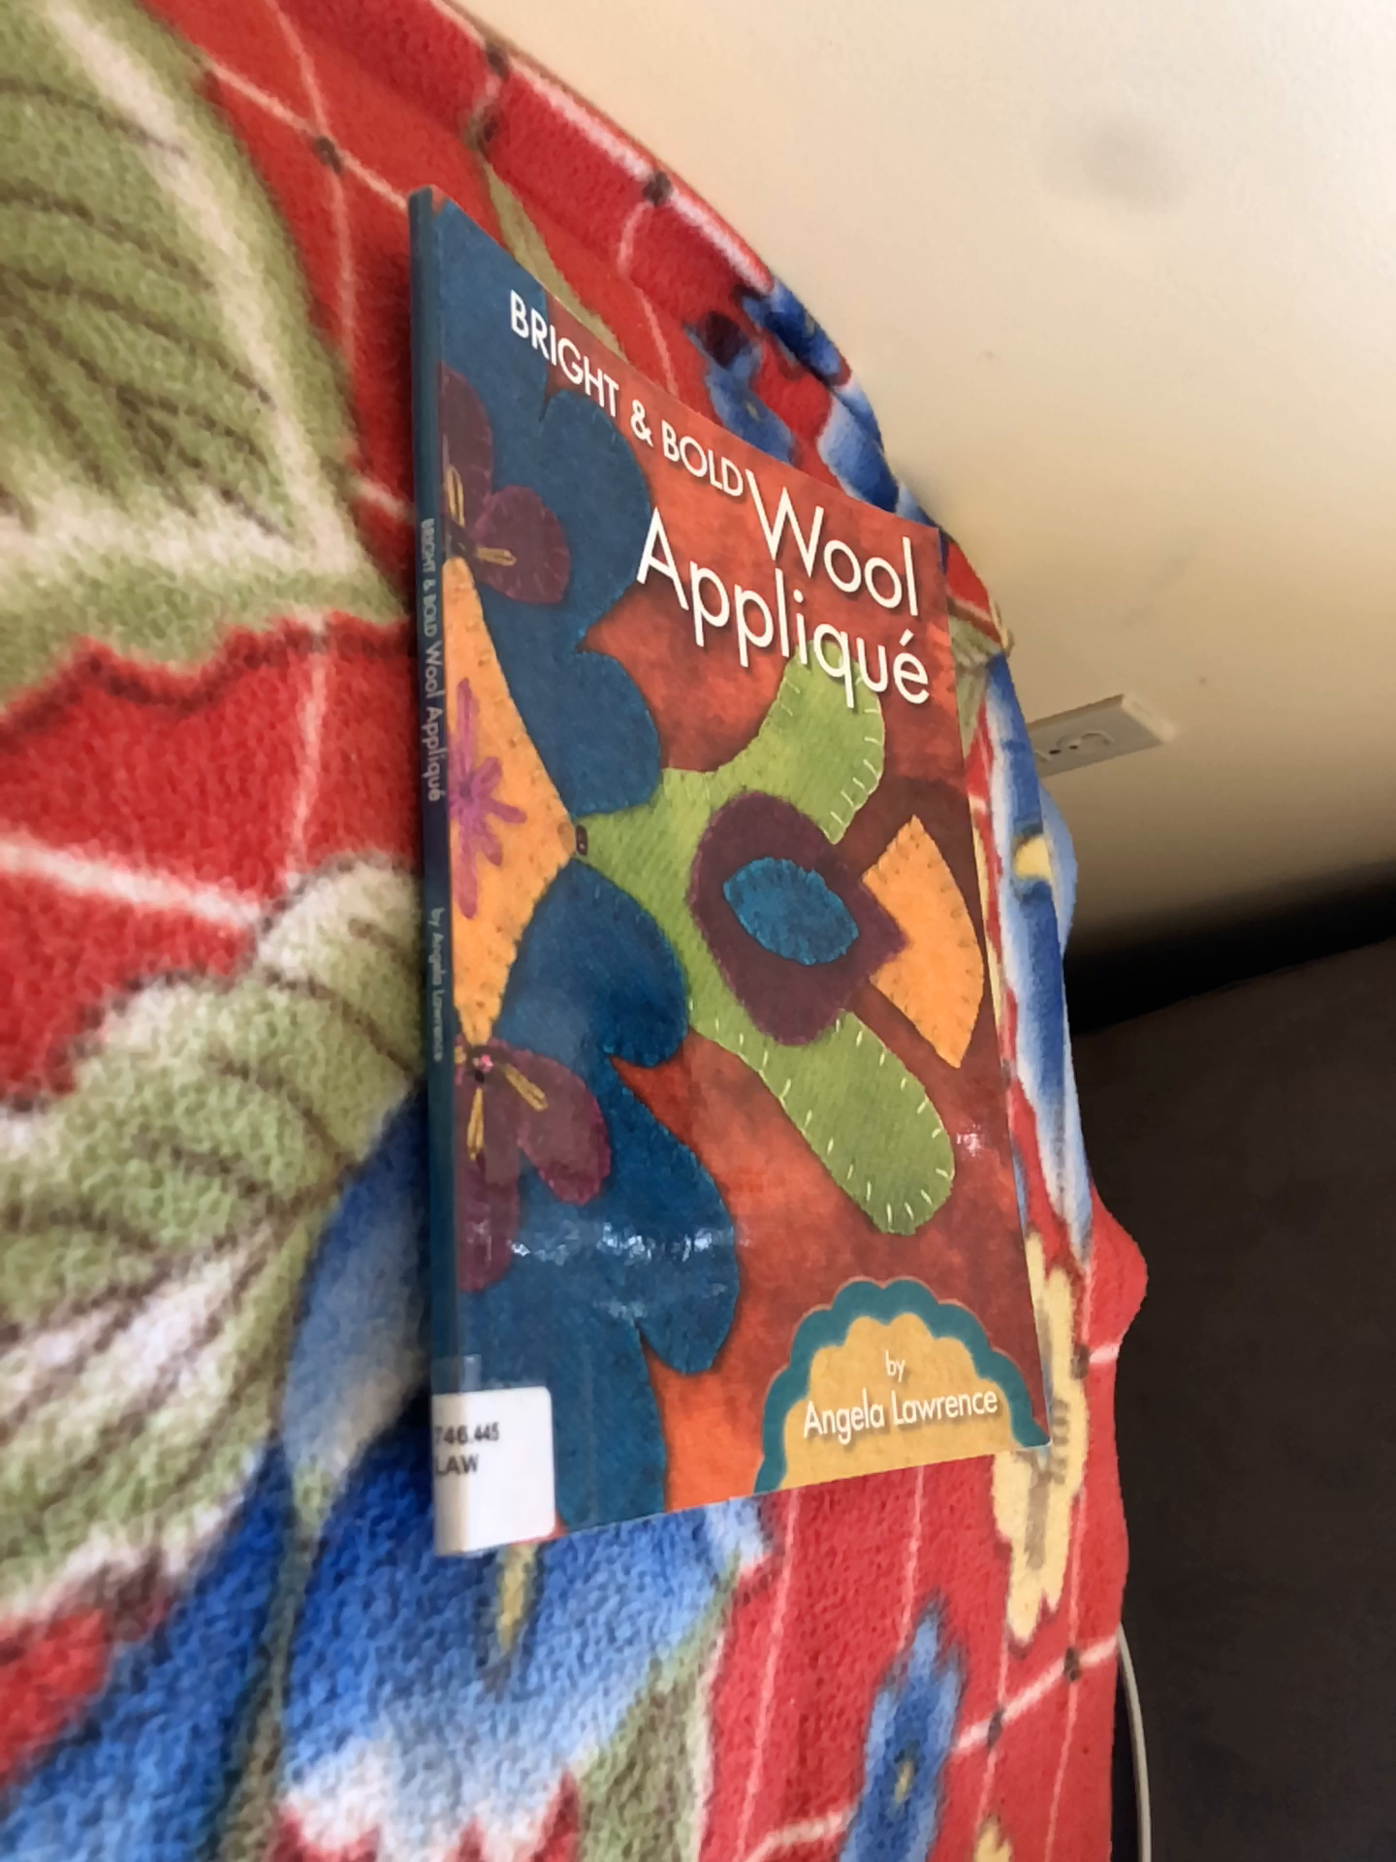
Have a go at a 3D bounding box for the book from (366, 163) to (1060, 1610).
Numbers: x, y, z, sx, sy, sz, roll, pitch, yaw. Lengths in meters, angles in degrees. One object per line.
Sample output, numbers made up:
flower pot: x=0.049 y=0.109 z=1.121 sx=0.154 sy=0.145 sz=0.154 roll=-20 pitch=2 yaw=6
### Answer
book: x=0.015 y=-0.003 z=0.363 sx=0.221 sy=0.020 sz=0.264 roll=16 pitch=65 yaw=-53
